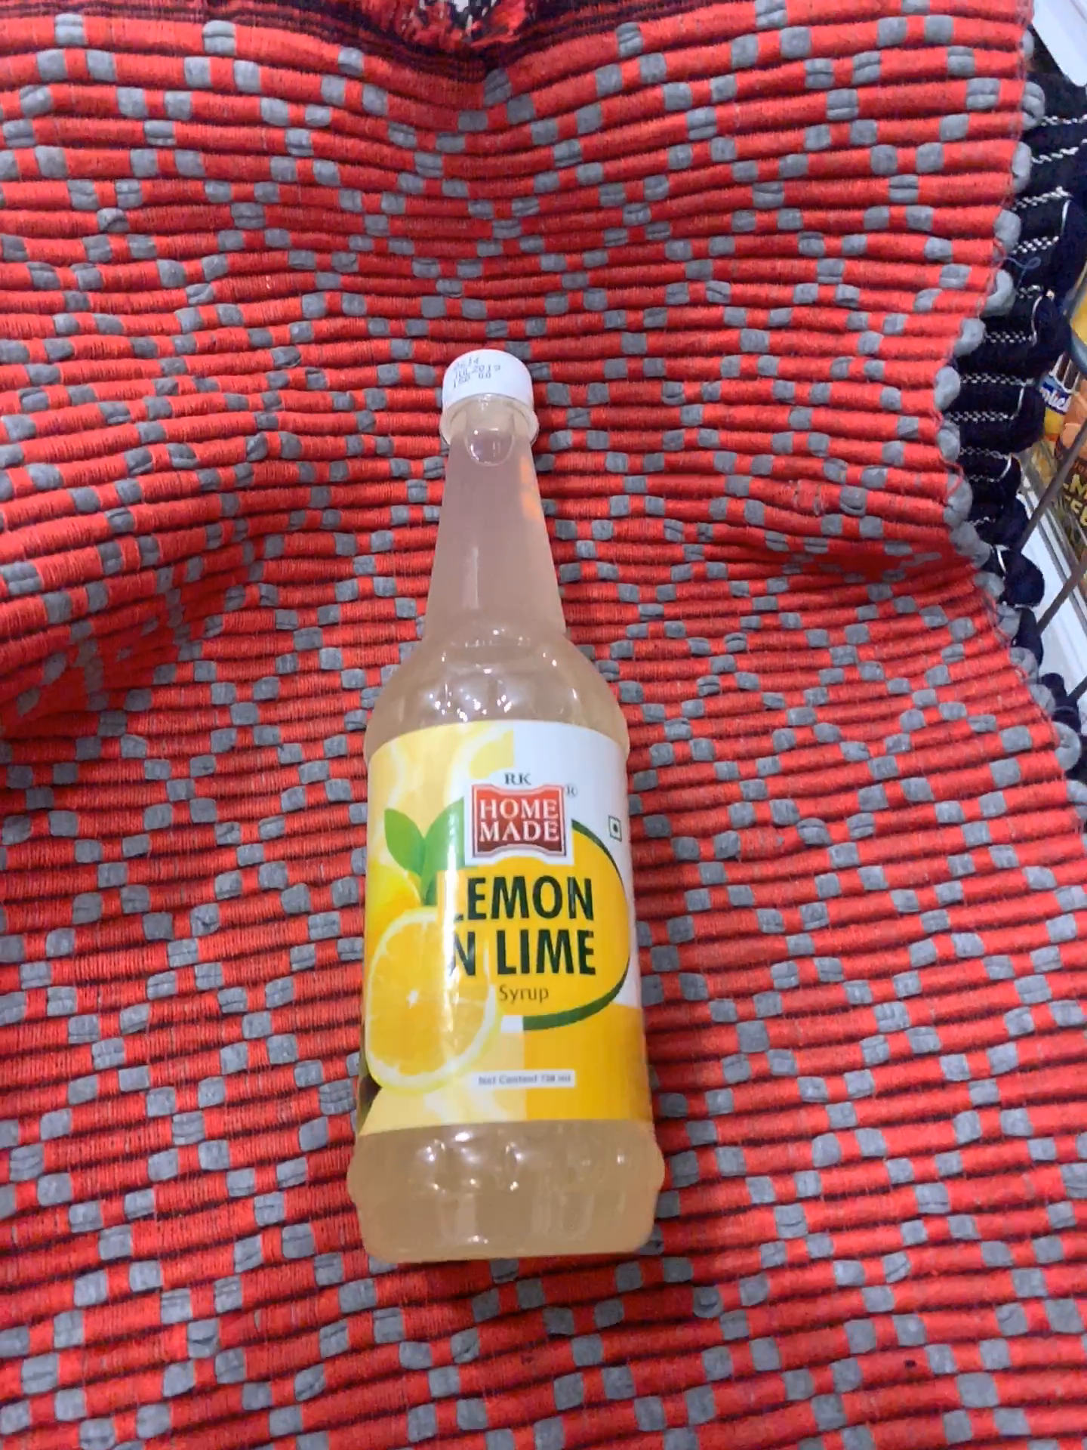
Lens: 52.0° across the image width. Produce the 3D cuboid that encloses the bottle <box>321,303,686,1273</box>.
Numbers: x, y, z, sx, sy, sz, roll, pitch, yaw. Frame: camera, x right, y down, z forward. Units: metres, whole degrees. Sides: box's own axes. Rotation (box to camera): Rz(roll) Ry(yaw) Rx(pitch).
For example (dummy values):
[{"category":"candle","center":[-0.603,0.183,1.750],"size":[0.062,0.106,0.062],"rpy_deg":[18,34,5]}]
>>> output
[{"category":"bottle","center":[-0.013,0.003,0.308],"size":[0.070,0.070,0.261],"rpy_deg":[-2,61,-1]}]
